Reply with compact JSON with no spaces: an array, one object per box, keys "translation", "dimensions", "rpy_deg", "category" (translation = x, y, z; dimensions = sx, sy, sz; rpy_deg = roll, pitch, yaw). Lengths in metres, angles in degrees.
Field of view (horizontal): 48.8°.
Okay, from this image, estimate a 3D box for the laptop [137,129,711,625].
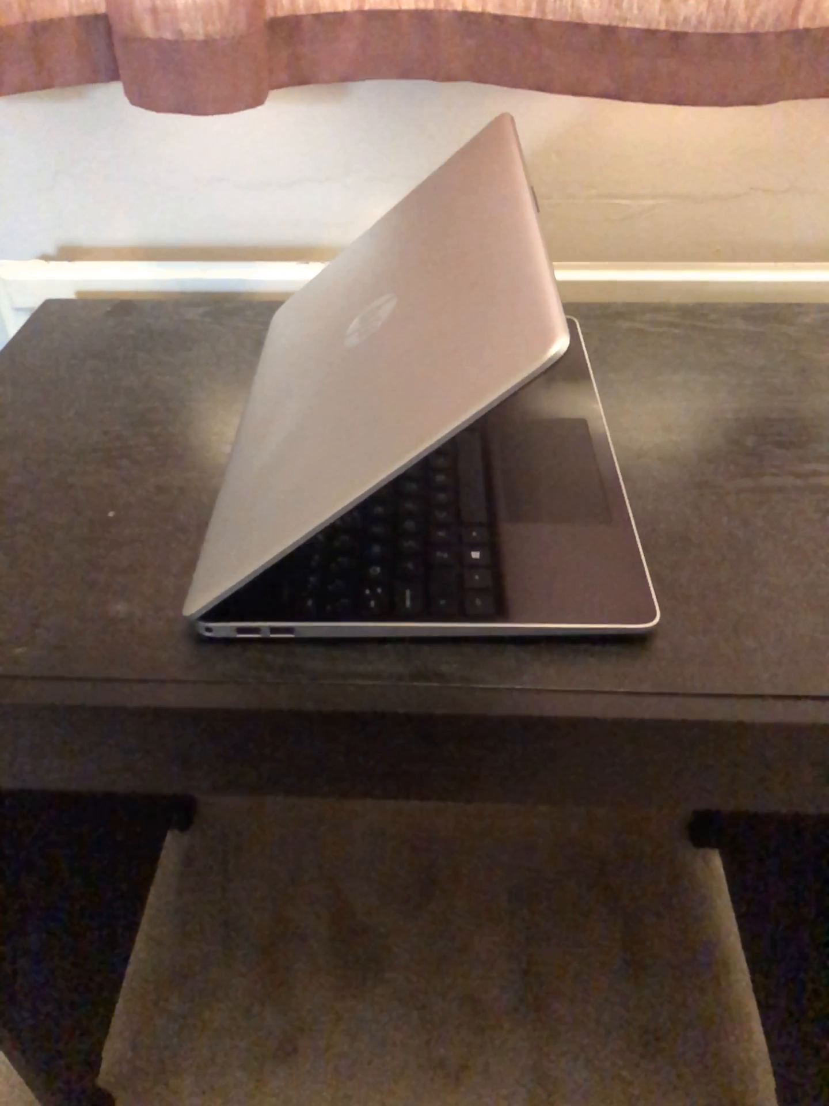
[{"translation":[0.009,-0.133,0.561],"dimensions":[0.236,0.141,0.363],"rpy_deg":[1,39,0],"category":"laptop"}]
